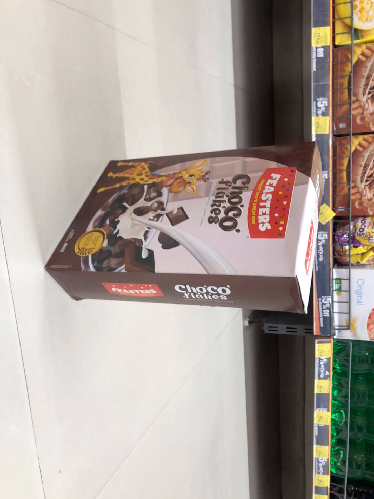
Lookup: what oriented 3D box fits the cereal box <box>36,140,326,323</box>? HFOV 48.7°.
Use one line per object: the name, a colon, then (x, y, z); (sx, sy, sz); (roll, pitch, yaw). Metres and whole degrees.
cereal box: (0.003, -0.029, 0.452); (0.050, 0.268, 0.200); (68, 31, -44)
